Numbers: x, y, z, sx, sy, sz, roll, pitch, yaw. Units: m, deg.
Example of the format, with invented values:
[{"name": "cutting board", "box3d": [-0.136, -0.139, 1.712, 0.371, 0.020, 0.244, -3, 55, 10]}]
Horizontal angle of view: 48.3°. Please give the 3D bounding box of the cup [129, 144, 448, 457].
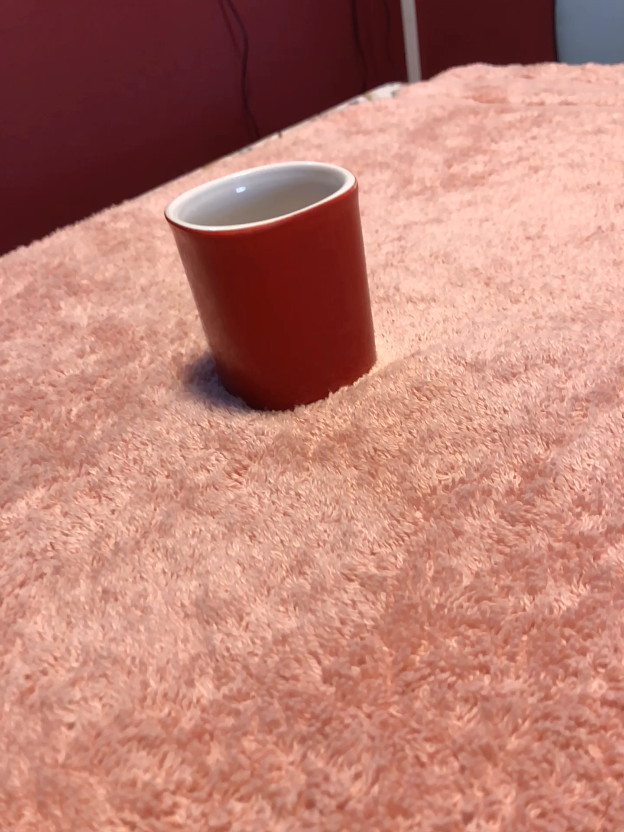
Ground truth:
[{"name": "cup", "box3d": [-0.011, -0.050, 0.261, 0.070, 0.070, 0.101, -25, 36, -18]}]
